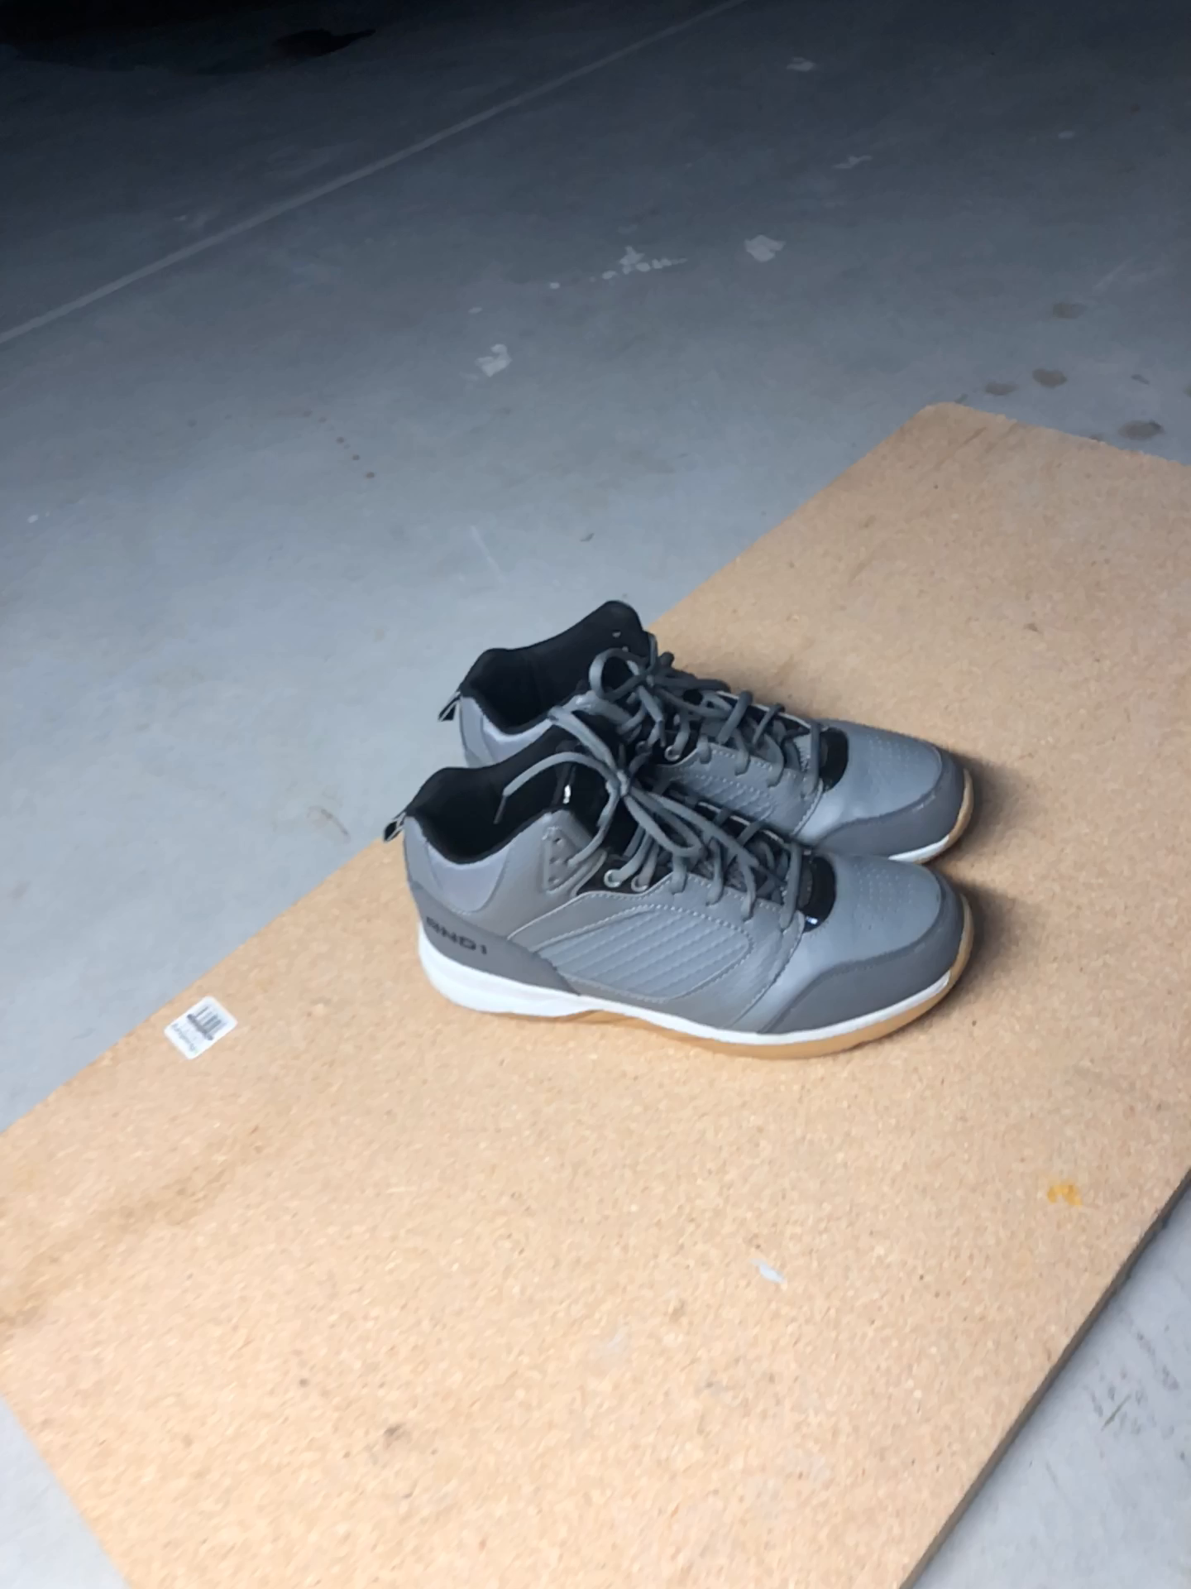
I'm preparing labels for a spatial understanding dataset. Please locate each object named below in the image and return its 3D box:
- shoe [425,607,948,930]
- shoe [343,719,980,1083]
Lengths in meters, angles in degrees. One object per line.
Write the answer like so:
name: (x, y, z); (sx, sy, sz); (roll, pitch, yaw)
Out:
shoe: (0.059, -0.012, 0.727); (0.260, 0.140, 0.100); (0, 45, 14)
shoe: (0.040, 0.047, 0.648); (0.280, 0.120, 0.110); (2, 45, 17)
